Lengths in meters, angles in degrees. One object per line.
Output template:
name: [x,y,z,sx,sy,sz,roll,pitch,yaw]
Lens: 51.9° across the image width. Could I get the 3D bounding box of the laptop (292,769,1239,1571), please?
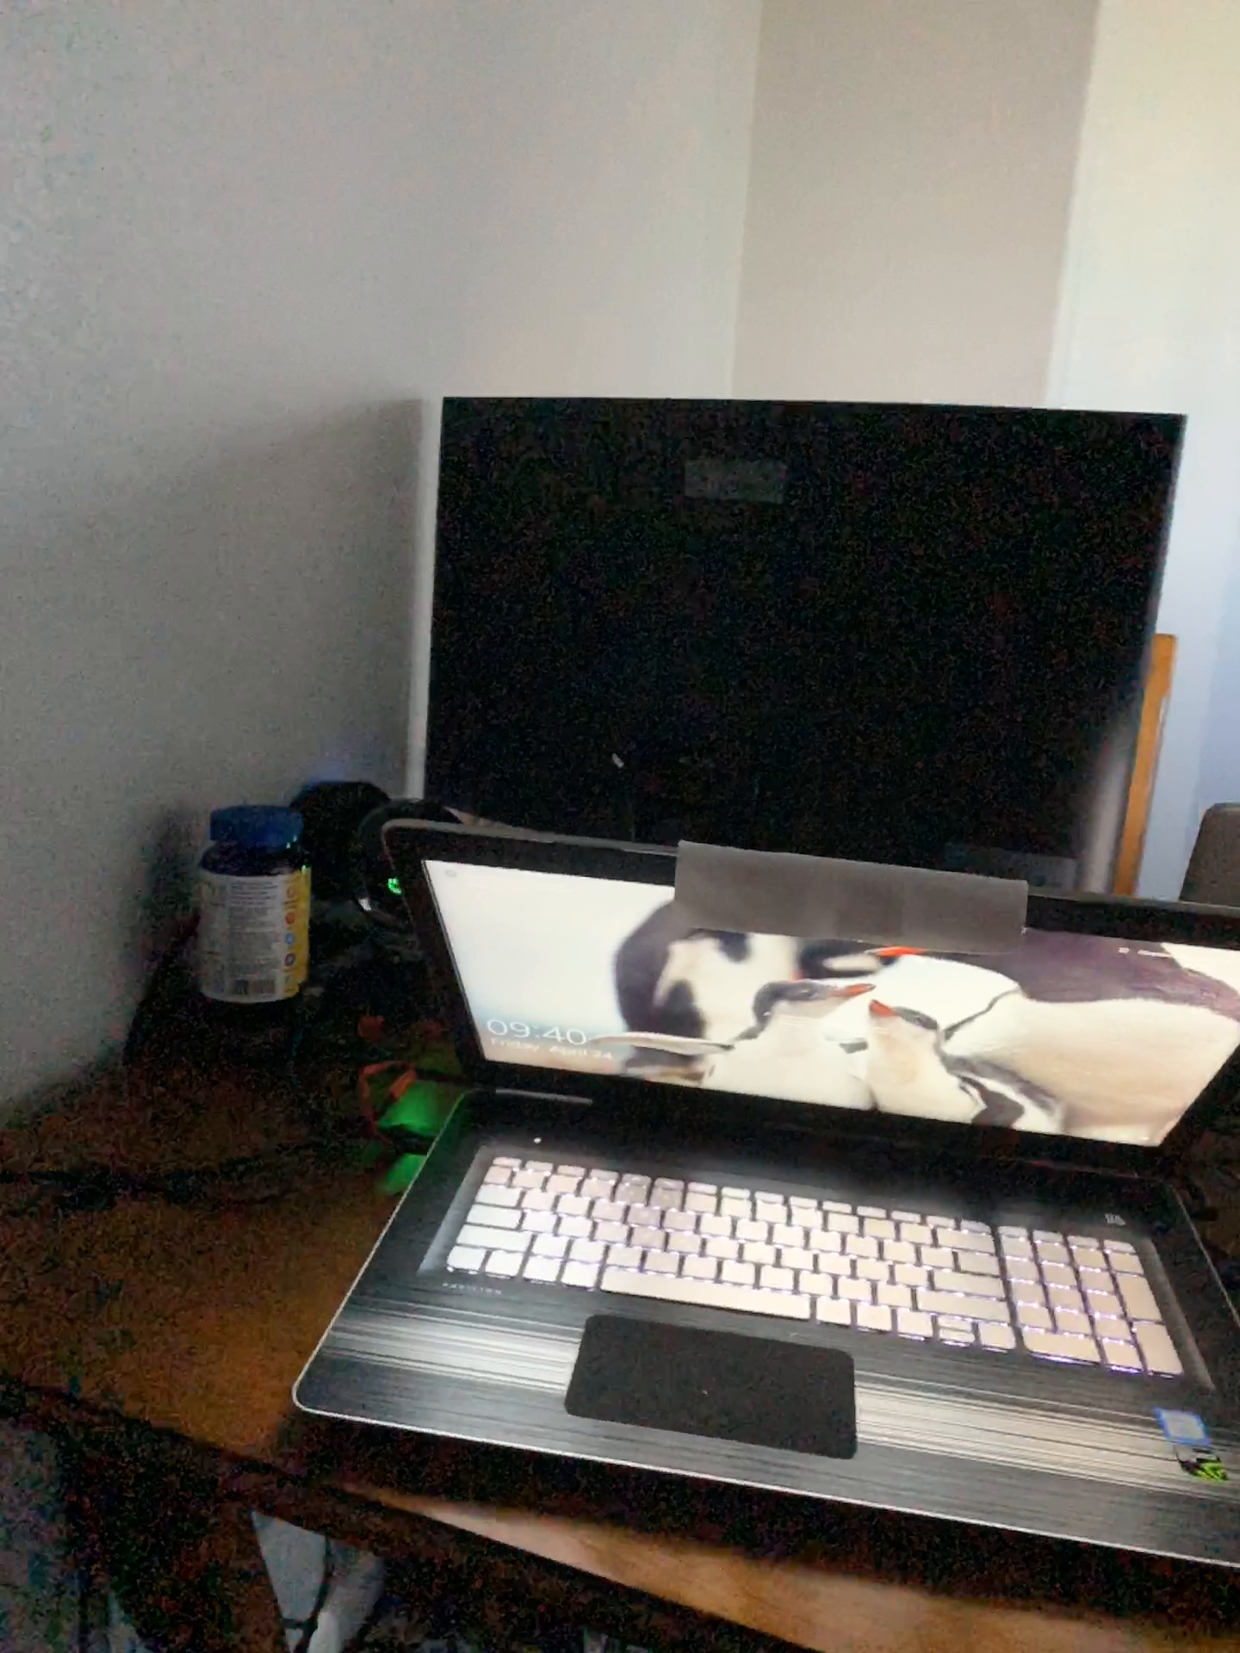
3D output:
laptop: [0.092,0.116,0.576,0.393,0.187,0.258,6,16,6]
